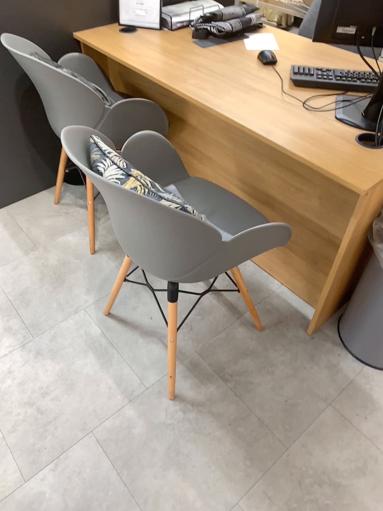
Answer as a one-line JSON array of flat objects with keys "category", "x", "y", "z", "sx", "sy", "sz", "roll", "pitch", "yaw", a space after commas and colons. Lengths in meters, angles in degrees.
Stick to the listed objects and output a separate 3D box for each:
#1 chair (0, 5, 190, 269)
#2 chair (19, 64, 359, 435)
[{"category": "chair", "x": -0.405, "y": -0.514, "z": 1.694, "sx": 0.548, "sy": 0.808, "sz": 0.591, "roll": -30, "pitch": 53, "yaw": -26}, {"category": "chair", "x": -0.026, "y": -0.015, "z": 1.204, "sx": 0.548, "sy": 0.808, "sz": 0.601, "roll": -30, "pitch": 53, "yaw": -26}]
